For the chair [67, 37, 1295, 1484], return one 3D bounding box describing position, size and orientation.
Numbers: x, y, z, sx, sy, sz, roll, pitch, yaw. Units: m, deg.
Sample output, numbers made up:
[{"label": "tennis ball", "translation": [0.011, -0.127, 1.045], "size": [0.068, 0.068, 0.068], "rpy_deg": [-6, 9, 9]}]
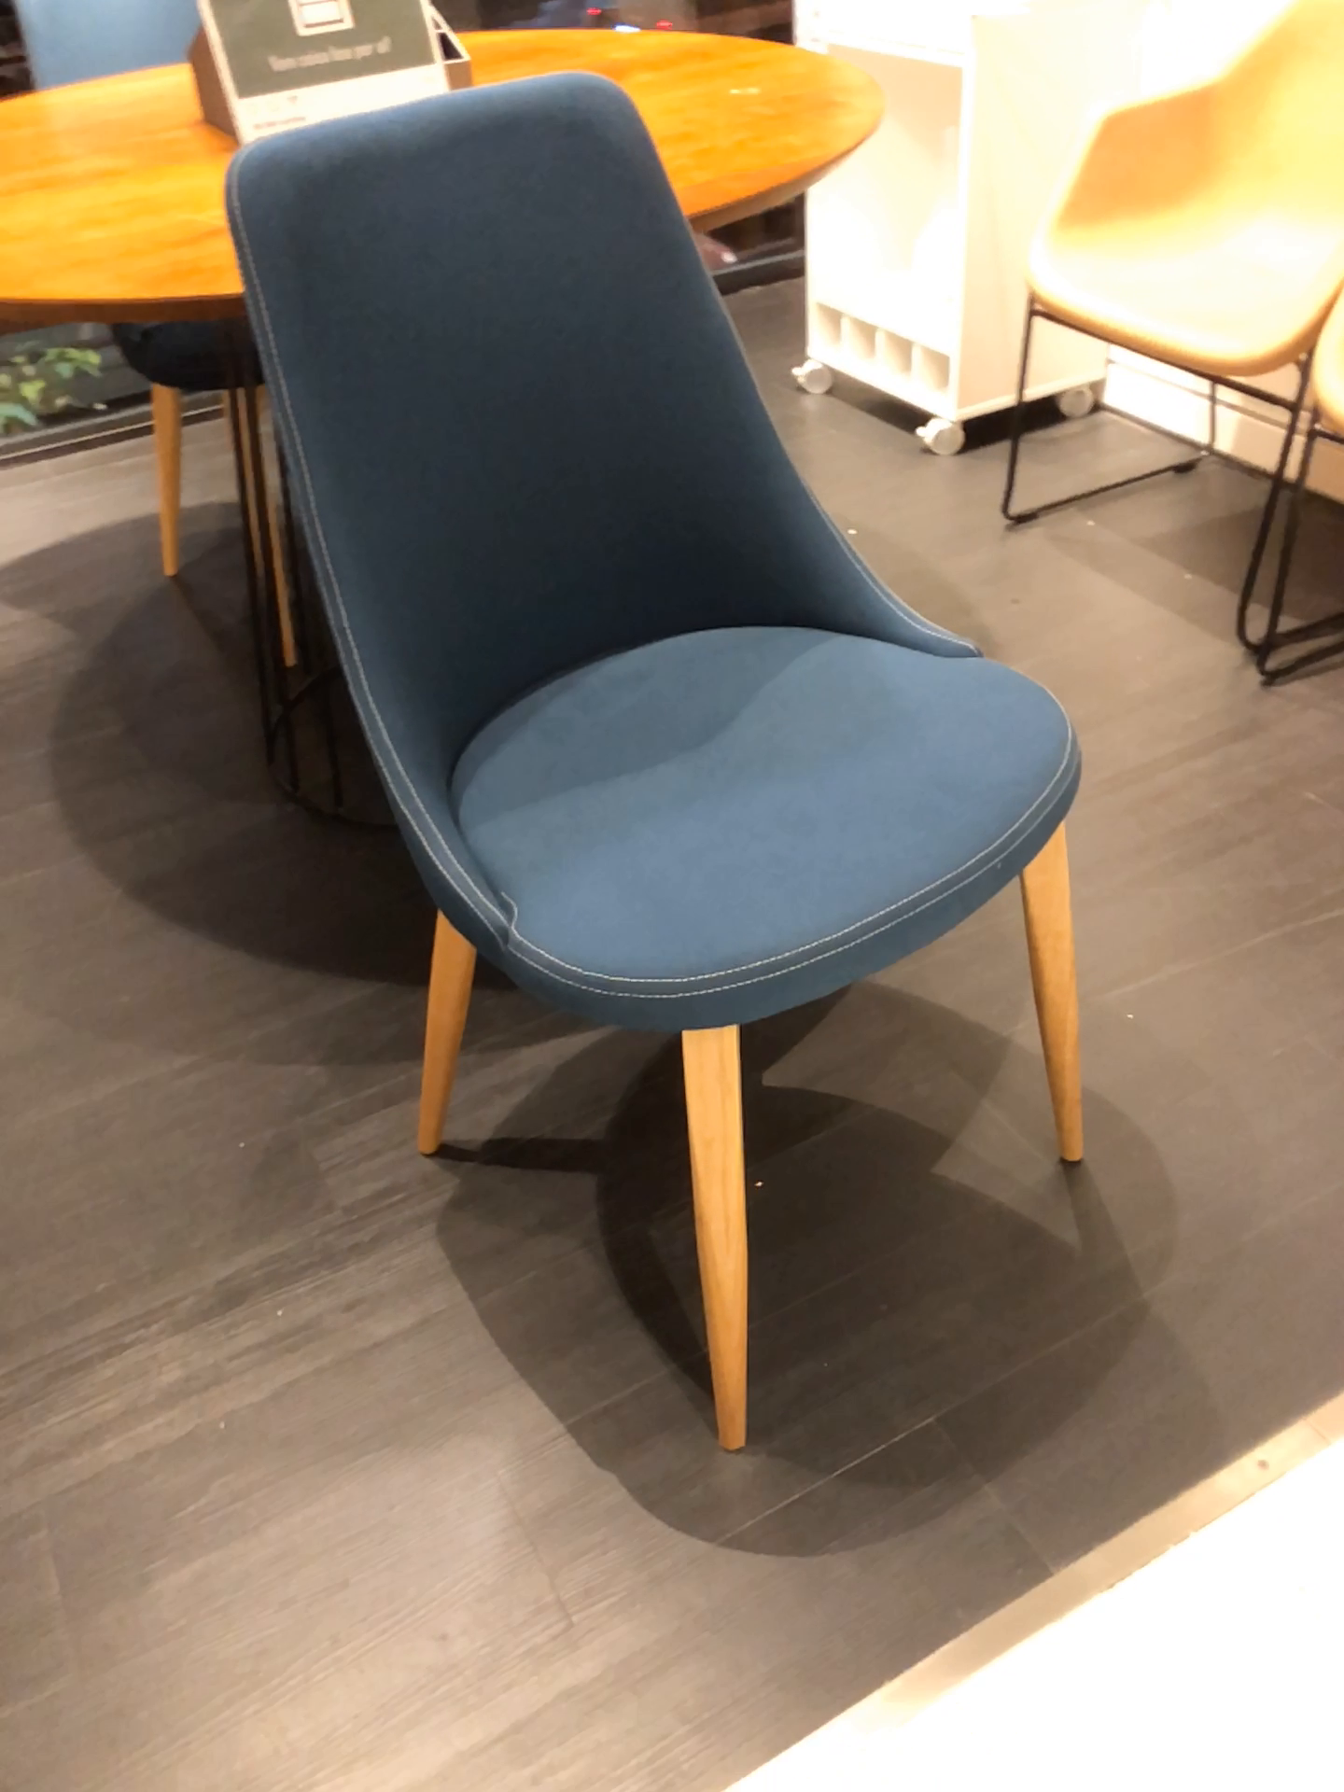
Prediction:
[{"label": "chair", "translation": [0.017, -0.125, 1.155], "size": [0.522, 0.853, 0.542], "rpy_deg": [-30, 44, -29]}]
